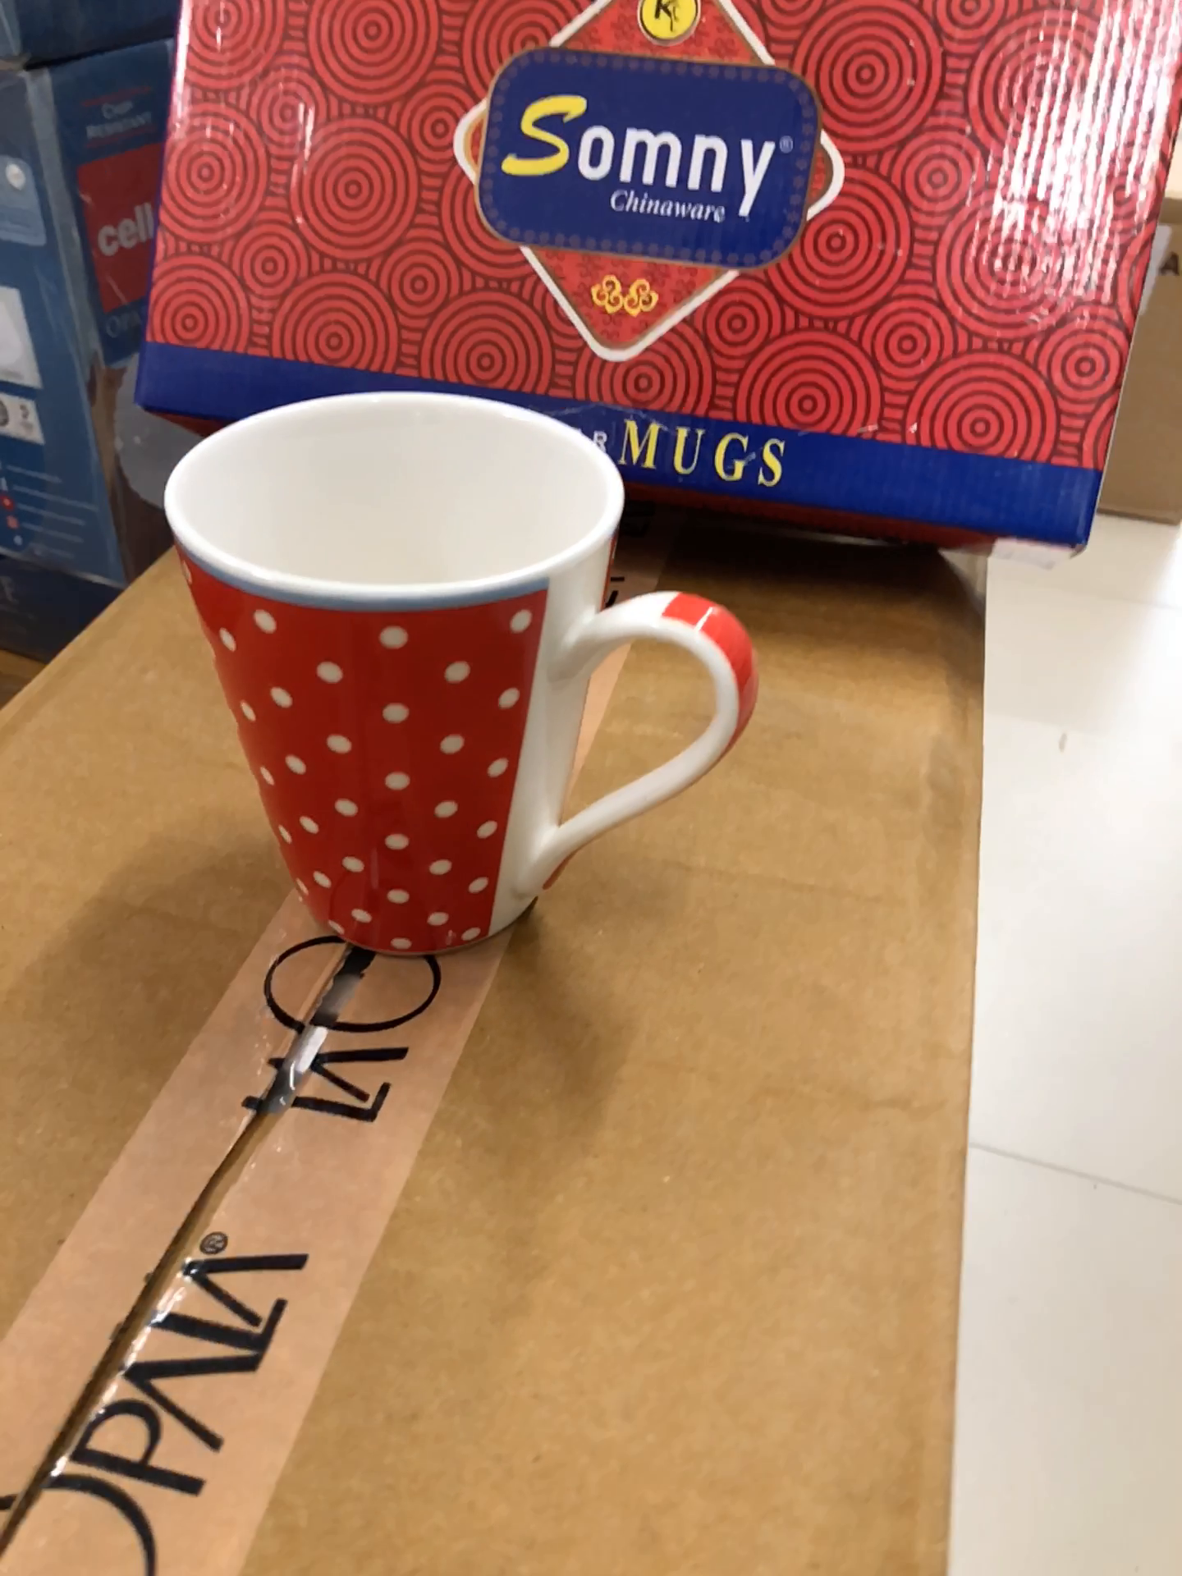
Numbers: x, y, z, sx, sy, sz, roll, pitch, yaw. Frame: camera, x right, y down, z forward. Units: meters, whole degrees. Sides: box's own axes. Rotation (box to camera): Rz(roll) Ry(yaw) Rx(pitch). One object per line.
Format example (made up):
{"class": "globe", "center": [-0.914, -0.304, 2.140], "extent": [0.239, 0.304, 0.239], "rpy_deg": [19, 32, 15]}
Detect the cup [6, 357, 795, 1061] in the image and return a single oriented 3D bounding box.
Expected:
{"class": "cup", "center": [-0.032, -0.021, 0.268], "extent": [0.120, 0.089, 0.081], "rpy_deg": [15, 39, 15]}
